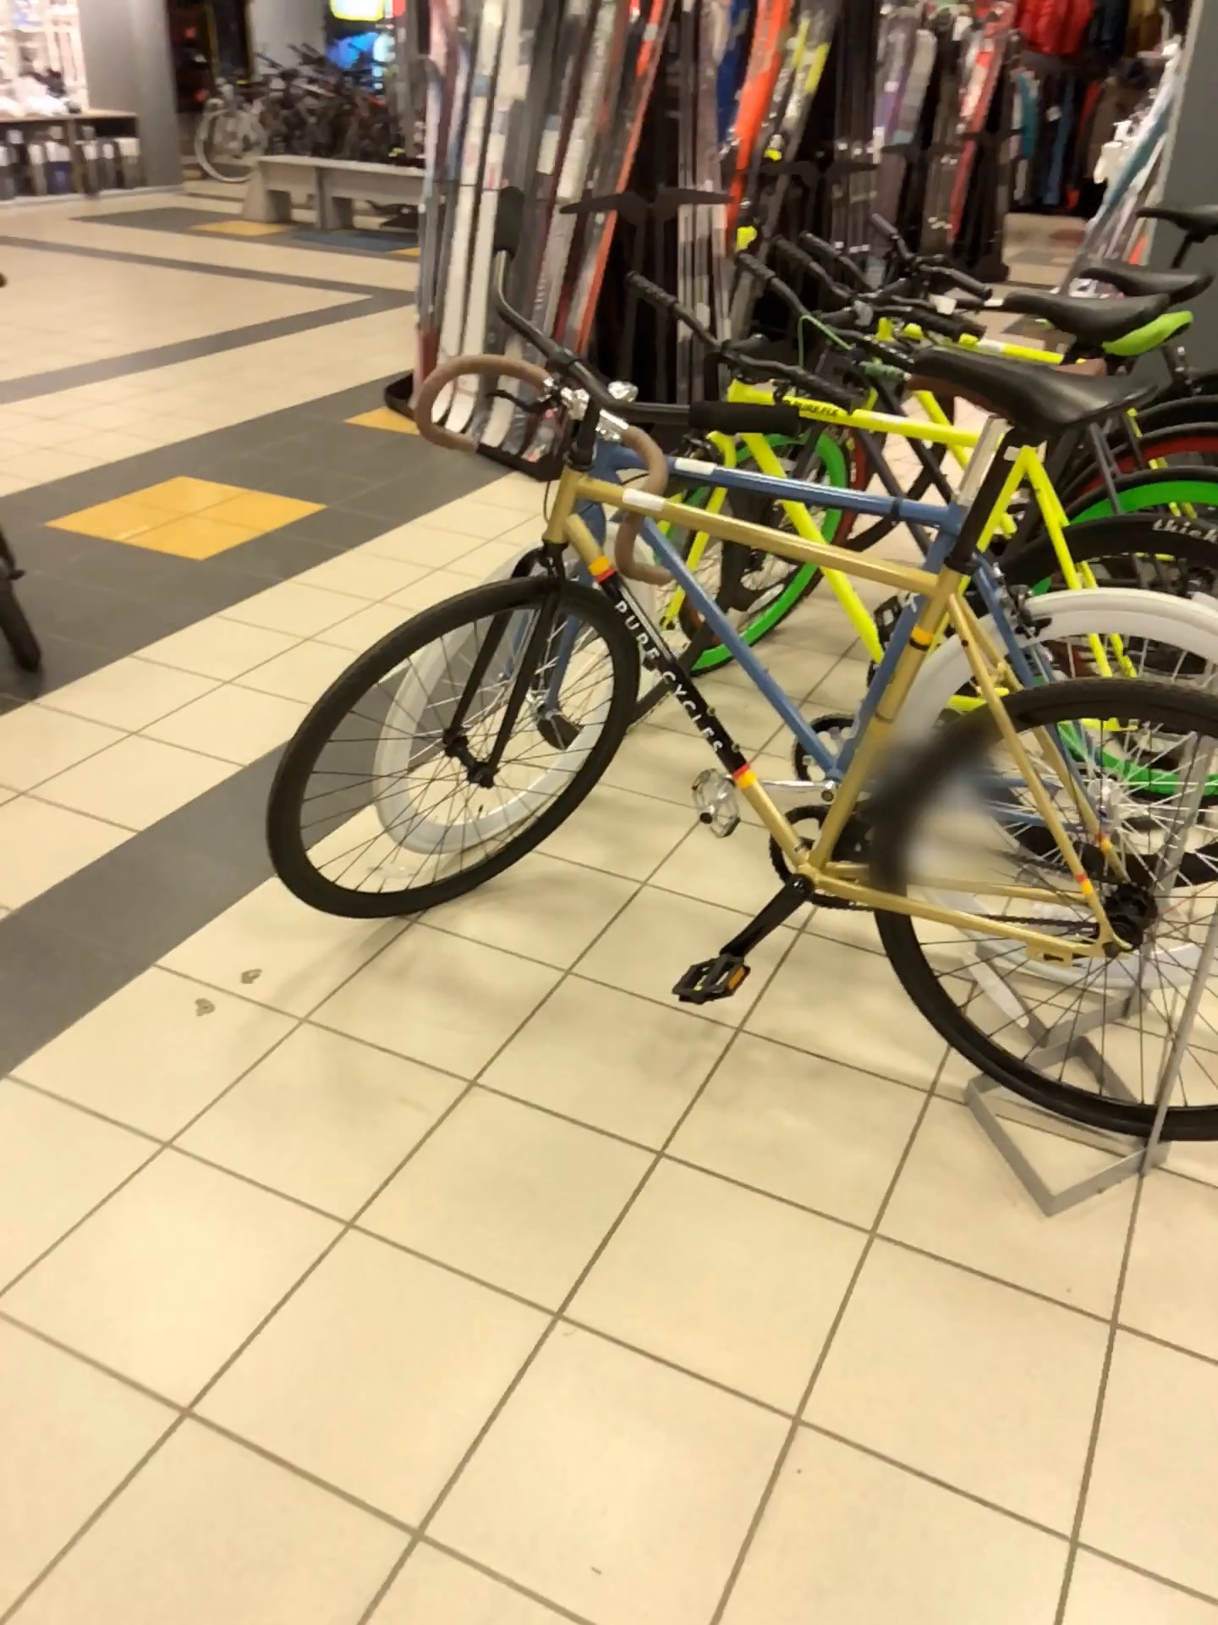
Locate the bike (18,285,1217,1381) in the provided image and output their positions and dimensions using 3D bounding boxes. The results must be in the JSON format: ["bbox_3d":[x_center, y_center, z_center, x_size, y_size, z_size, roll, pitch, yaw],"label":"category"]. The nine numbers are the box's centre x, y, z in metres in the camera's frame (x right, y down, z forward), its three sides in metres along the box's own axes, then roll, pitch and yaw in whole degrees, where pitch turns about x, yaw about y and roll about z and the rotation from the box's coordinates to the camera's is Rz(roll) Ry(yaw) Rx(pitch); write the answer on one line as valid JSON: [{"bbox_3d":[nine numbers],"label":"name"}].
[{"bbox_3d":[0.196,-0.013,1.727,1.462,1.092,0.675,6,28,16],"label":"bike"}]
